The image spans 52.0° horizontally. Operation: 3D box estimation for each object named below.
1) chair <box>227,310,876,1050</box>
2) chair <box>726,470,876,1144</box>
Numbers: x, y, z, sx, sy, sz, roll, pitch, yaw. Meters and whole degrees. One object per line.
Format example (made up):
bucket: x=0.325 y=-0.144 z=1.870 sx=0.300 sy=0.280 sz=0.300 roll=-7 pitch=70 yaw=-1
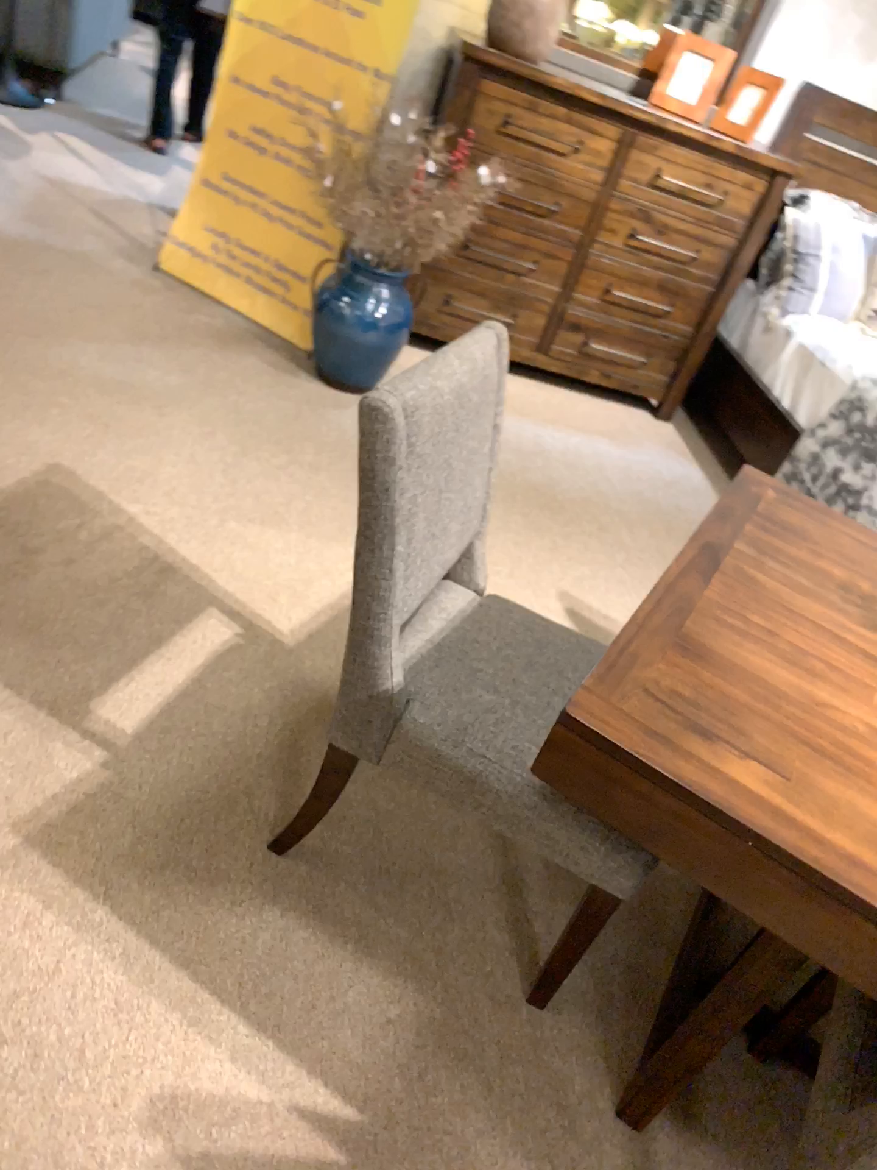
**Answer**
chair: x=0.142 y=0.147 z=1.423 sx=0.630 sy=0.863 sz=0.482 roll=27 pitch=34 yaw=8
chair: x=0.996 y=0.366 z=1.596 sx=0.479 sy=0.863 sz=0.633 roll=30 pitch=34 yaw=13
